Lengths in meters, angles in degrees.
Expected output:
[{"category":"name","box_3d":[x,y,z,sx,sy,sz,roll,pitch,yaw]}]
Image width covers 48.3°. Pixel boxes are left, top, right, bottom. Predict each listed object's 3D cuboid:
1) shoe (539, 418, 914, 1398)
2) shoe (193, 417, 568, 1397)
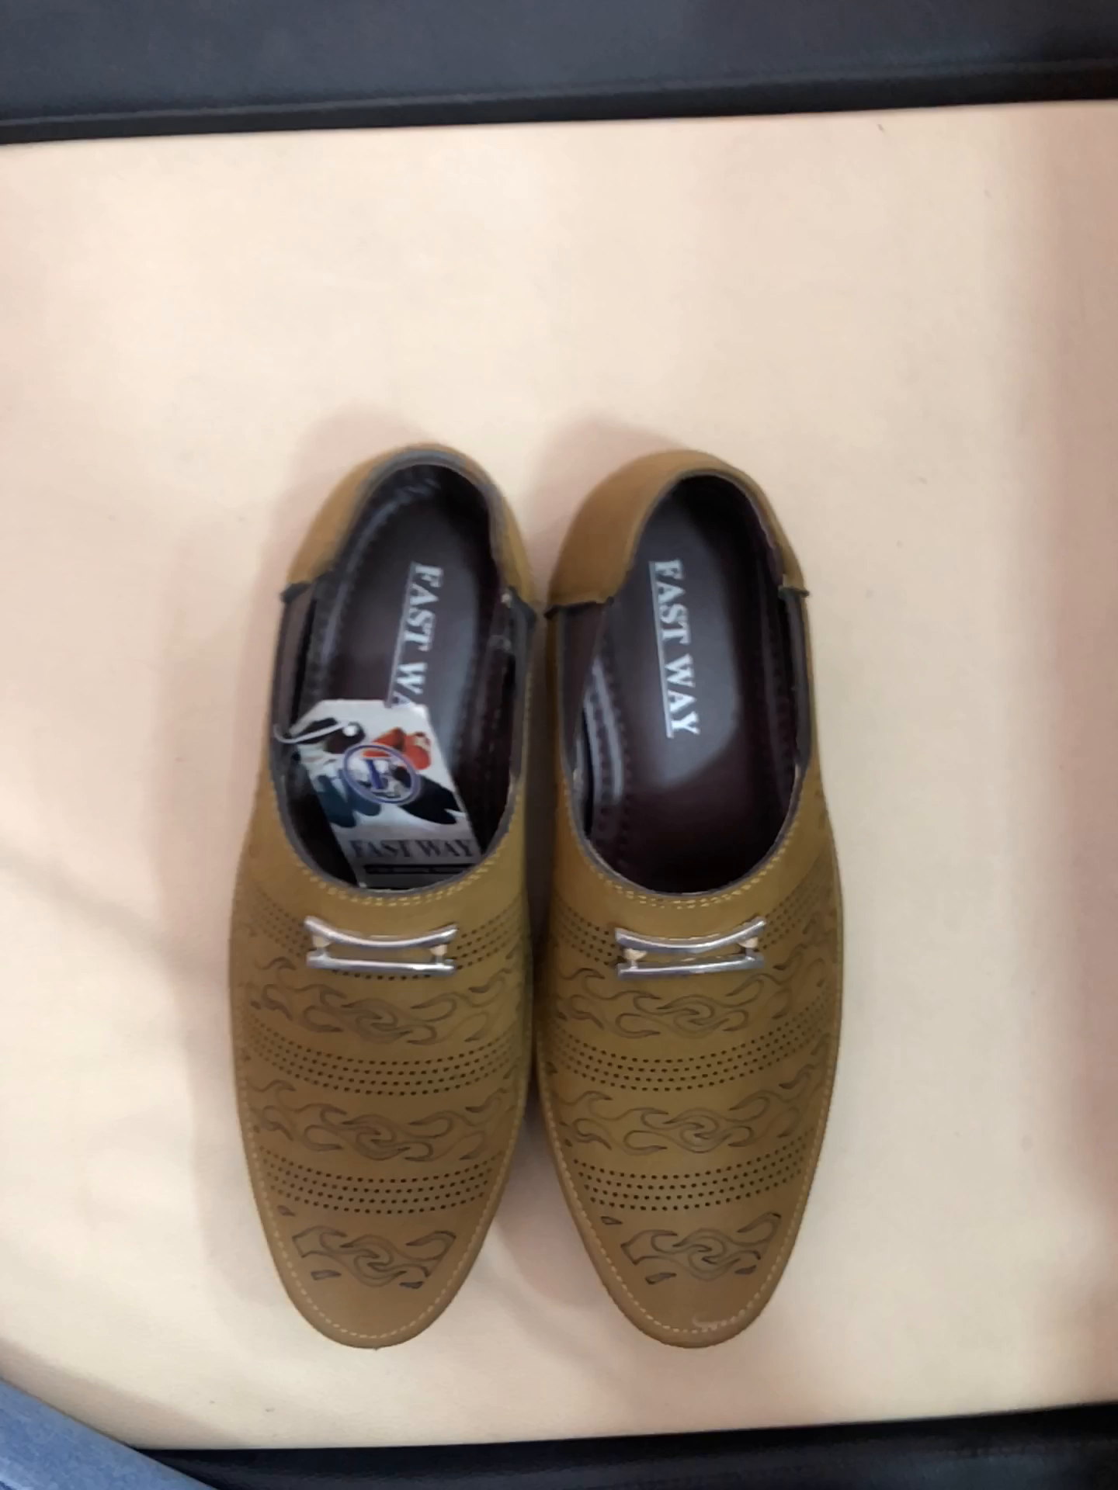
[{"category":"shoe","box_3d":[0.048,0.046,0.404,0.100,0.100,0.280,1,94,3]},{"category":"shoe","box_3d":[-0.051,0.046,0.405,0.100,0.100,0.280,1,94,3]}]
